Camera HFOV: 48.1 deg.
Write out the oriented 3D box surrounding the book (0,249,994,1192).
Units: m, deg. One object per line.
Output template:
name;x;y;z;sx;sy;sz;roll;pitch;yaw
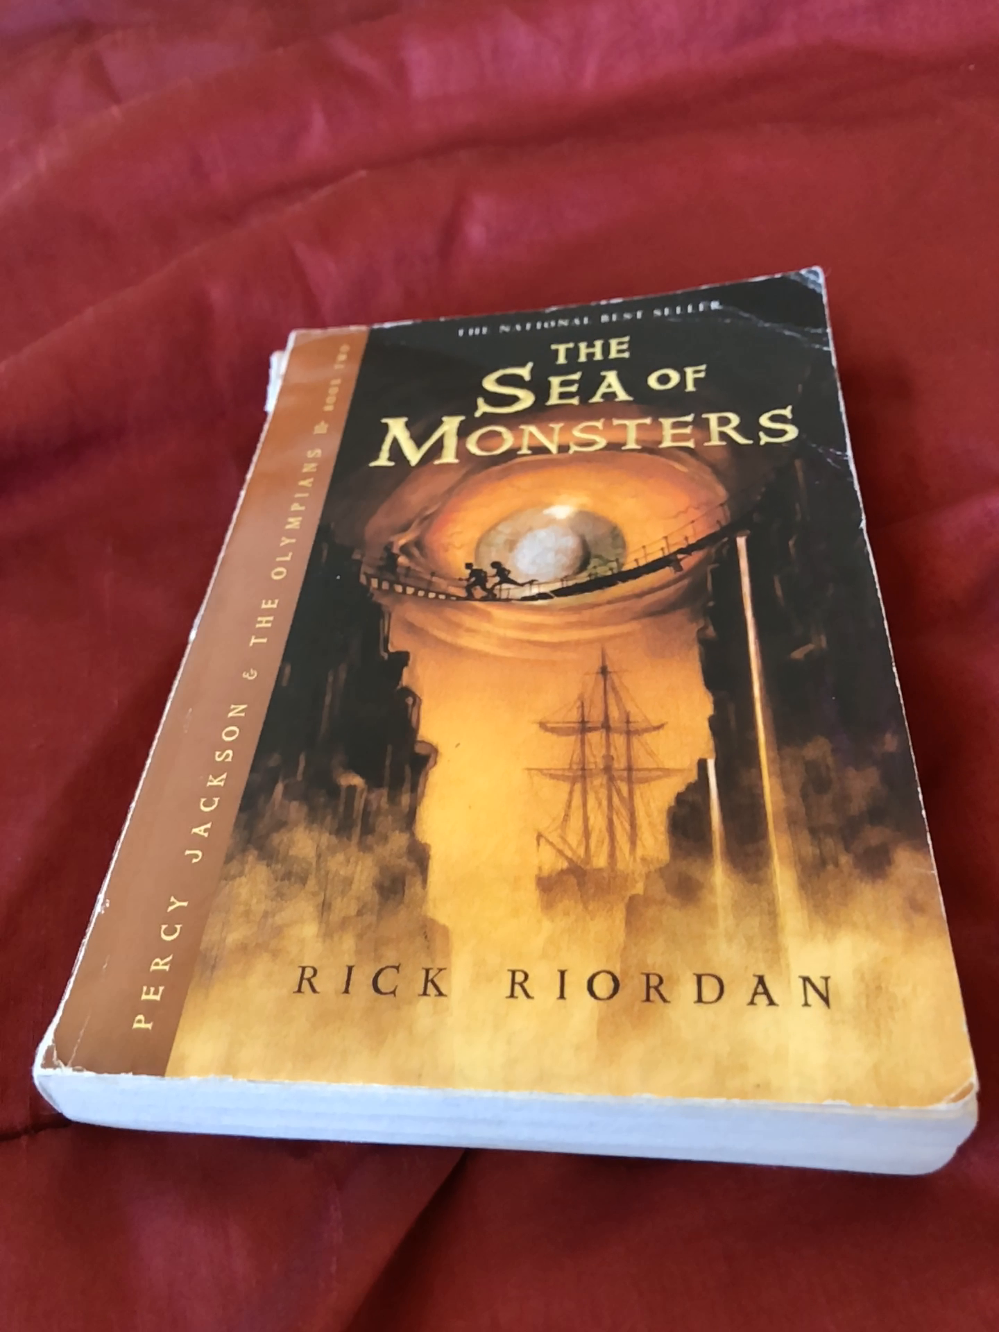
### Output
book;0.000;-0.009;0.222;0.144;0.030;0.198;-2;50;10
